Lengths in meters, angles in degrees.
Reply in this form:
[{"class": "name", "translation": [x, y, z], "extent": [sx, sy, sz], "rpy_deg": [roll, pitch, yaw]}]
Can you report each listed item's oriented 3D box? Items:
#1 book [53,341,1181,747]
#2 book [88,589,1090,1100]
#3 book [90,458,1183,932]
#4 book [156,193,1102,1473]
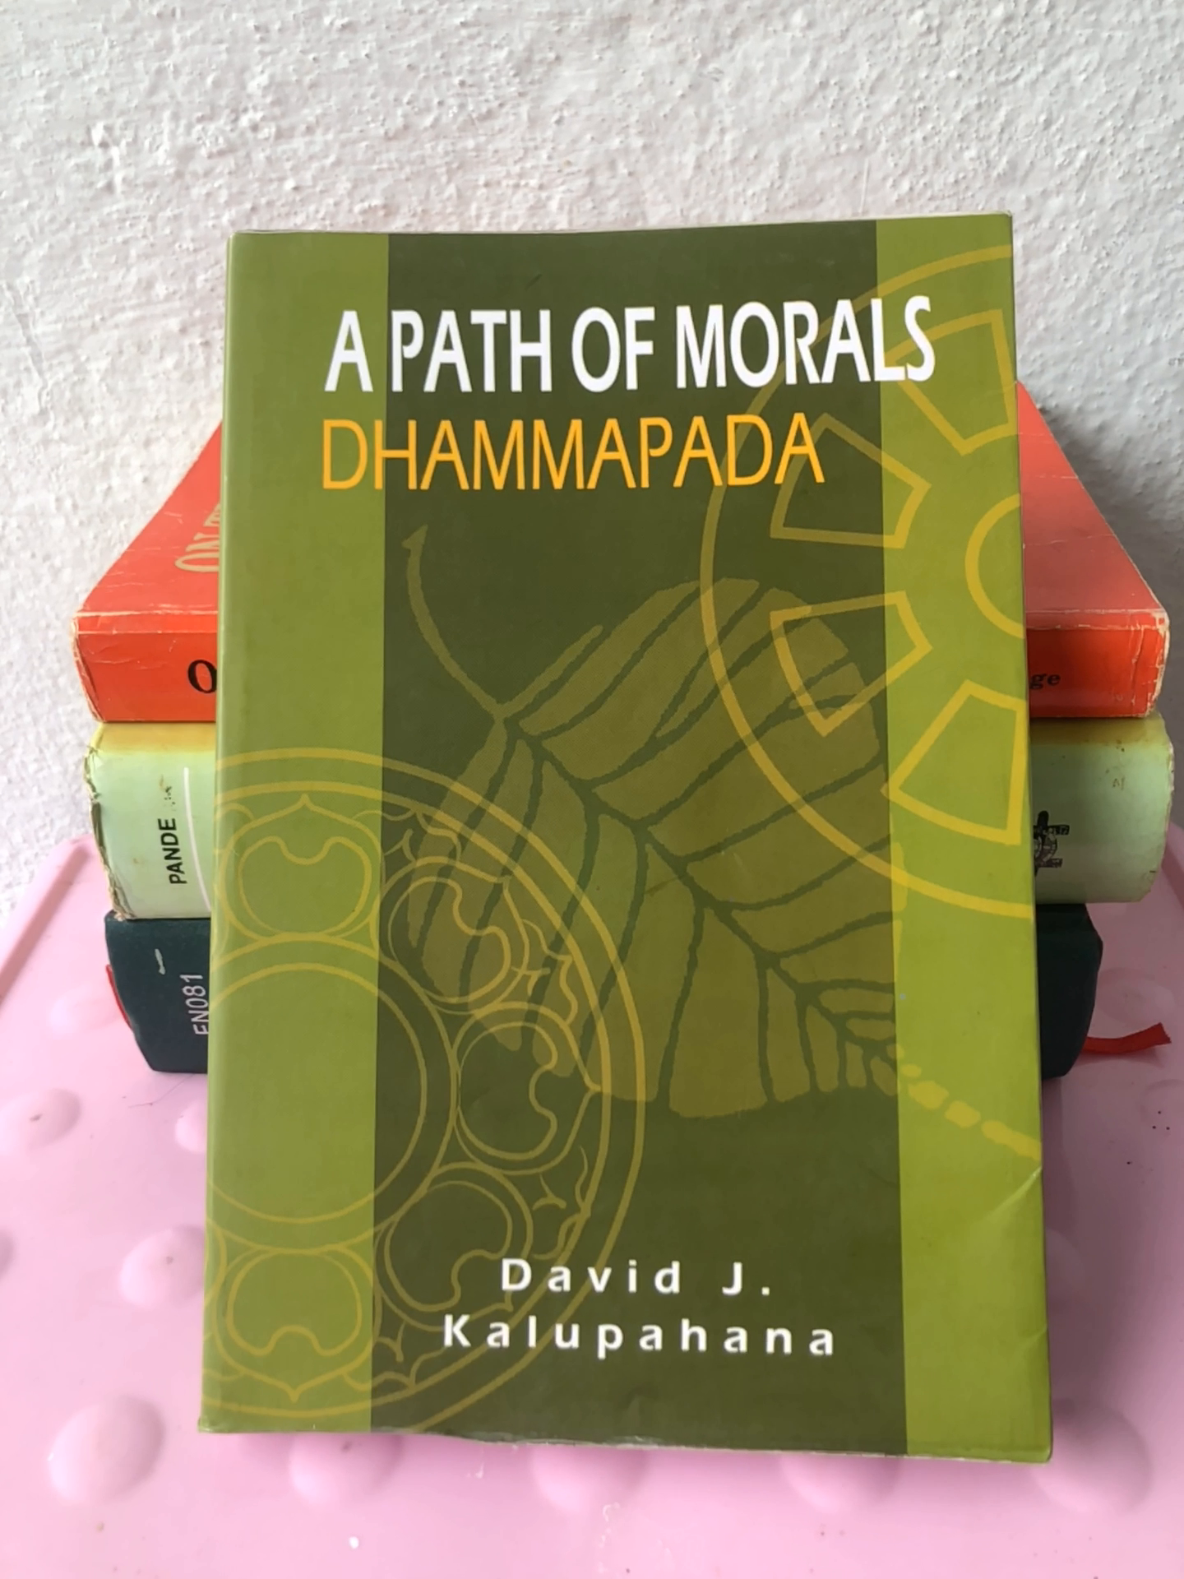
[{"class": "book", "translation": [0.006, -0.068, 0.320], "extent": [0.210, 0.030, 0.161], "rpy_deg": [-1, 33, 4]}, {"class": "book", "translation": [0.003, 0.005, 0.356], "extent": [0.210, 0.050, 0.161], "rpy_deg": [-1, 33, 6]}, {"class": "book", "translation": [0.012, -0.032, 0.327], "extent": [0.210, 0.040, 0.161], "rpy_deg": [-1, 33, 4]}, {"class": "book", "translation": [0.007, 0.003, 0.240], "extent": [0.150, 0.210, 0.040], "rpy_deg": [0, -6, 3]}]
